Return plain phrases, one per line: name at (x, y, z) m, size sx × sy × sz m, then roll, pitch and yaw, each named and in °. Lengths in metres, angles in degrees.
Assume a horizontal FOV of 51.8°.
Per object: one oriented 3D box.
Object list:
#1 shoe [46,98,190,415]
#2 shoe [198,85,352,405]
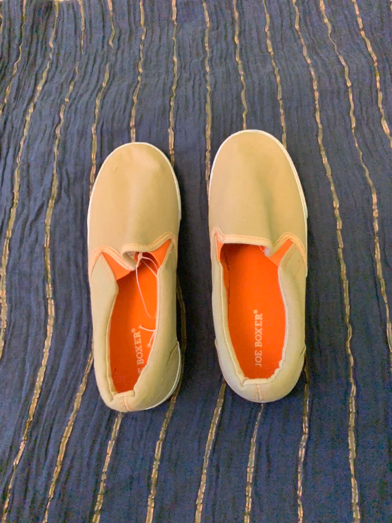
shoe at (-0.059, -0.007, 0.360) m, size 0.095 × 0.080 × 0.263 m, roll -3°, pitch 71°, yaw 3°
shoe at (0.057, -0.017, 0.362) m, size 0.100 × 0.080 × 0.271 m, roll -2°, pitch 71°, yaw 3°
